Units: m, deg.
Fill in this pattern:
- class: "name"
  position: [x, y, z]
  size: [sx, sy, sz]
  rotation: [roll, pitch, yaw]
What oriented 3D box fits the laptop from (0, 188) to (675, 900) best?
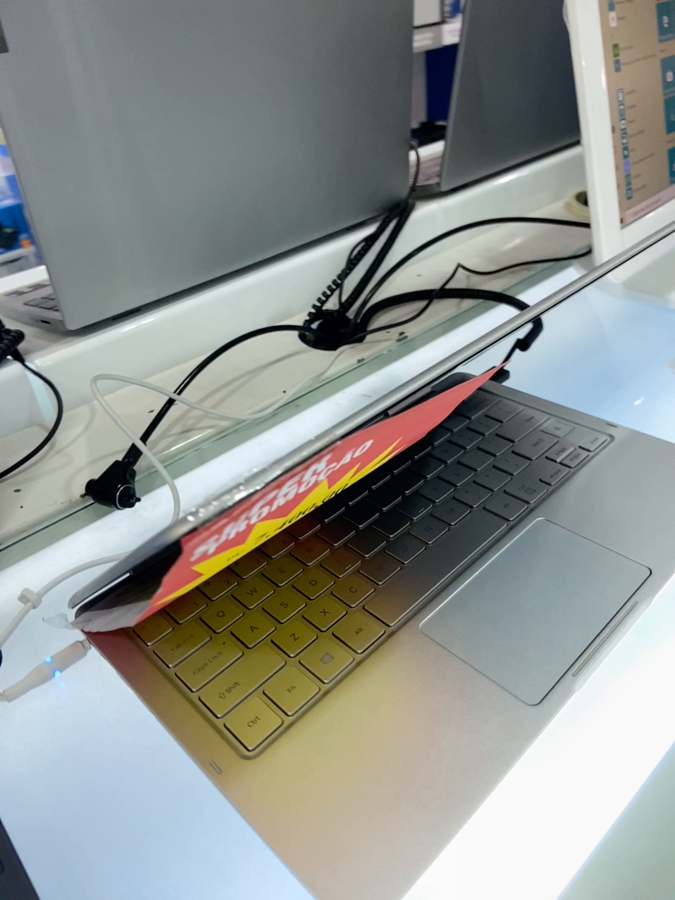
- class: "laptop"
  position: [0.040, -0.009, 0.329]
  size: [0.307, 0.132, 0.201]
  rotation: [-31, 40, -33]
